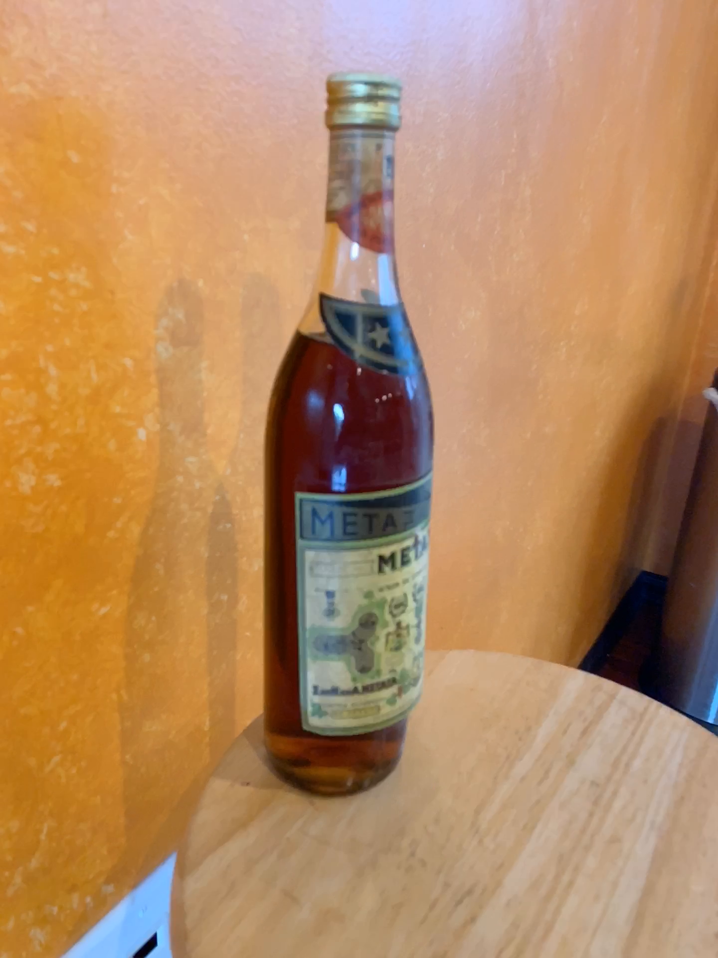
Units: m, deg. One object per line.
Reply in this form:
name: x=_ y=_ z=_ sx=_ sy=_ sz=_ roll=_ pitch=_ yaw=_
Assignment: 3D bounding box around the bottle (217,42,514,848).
bottle: x=-0.005 y=-0.003 z=0.307 sx=0.070 sy=0.299 sz=0.080 roll=17 pitch=24 yaw=31
